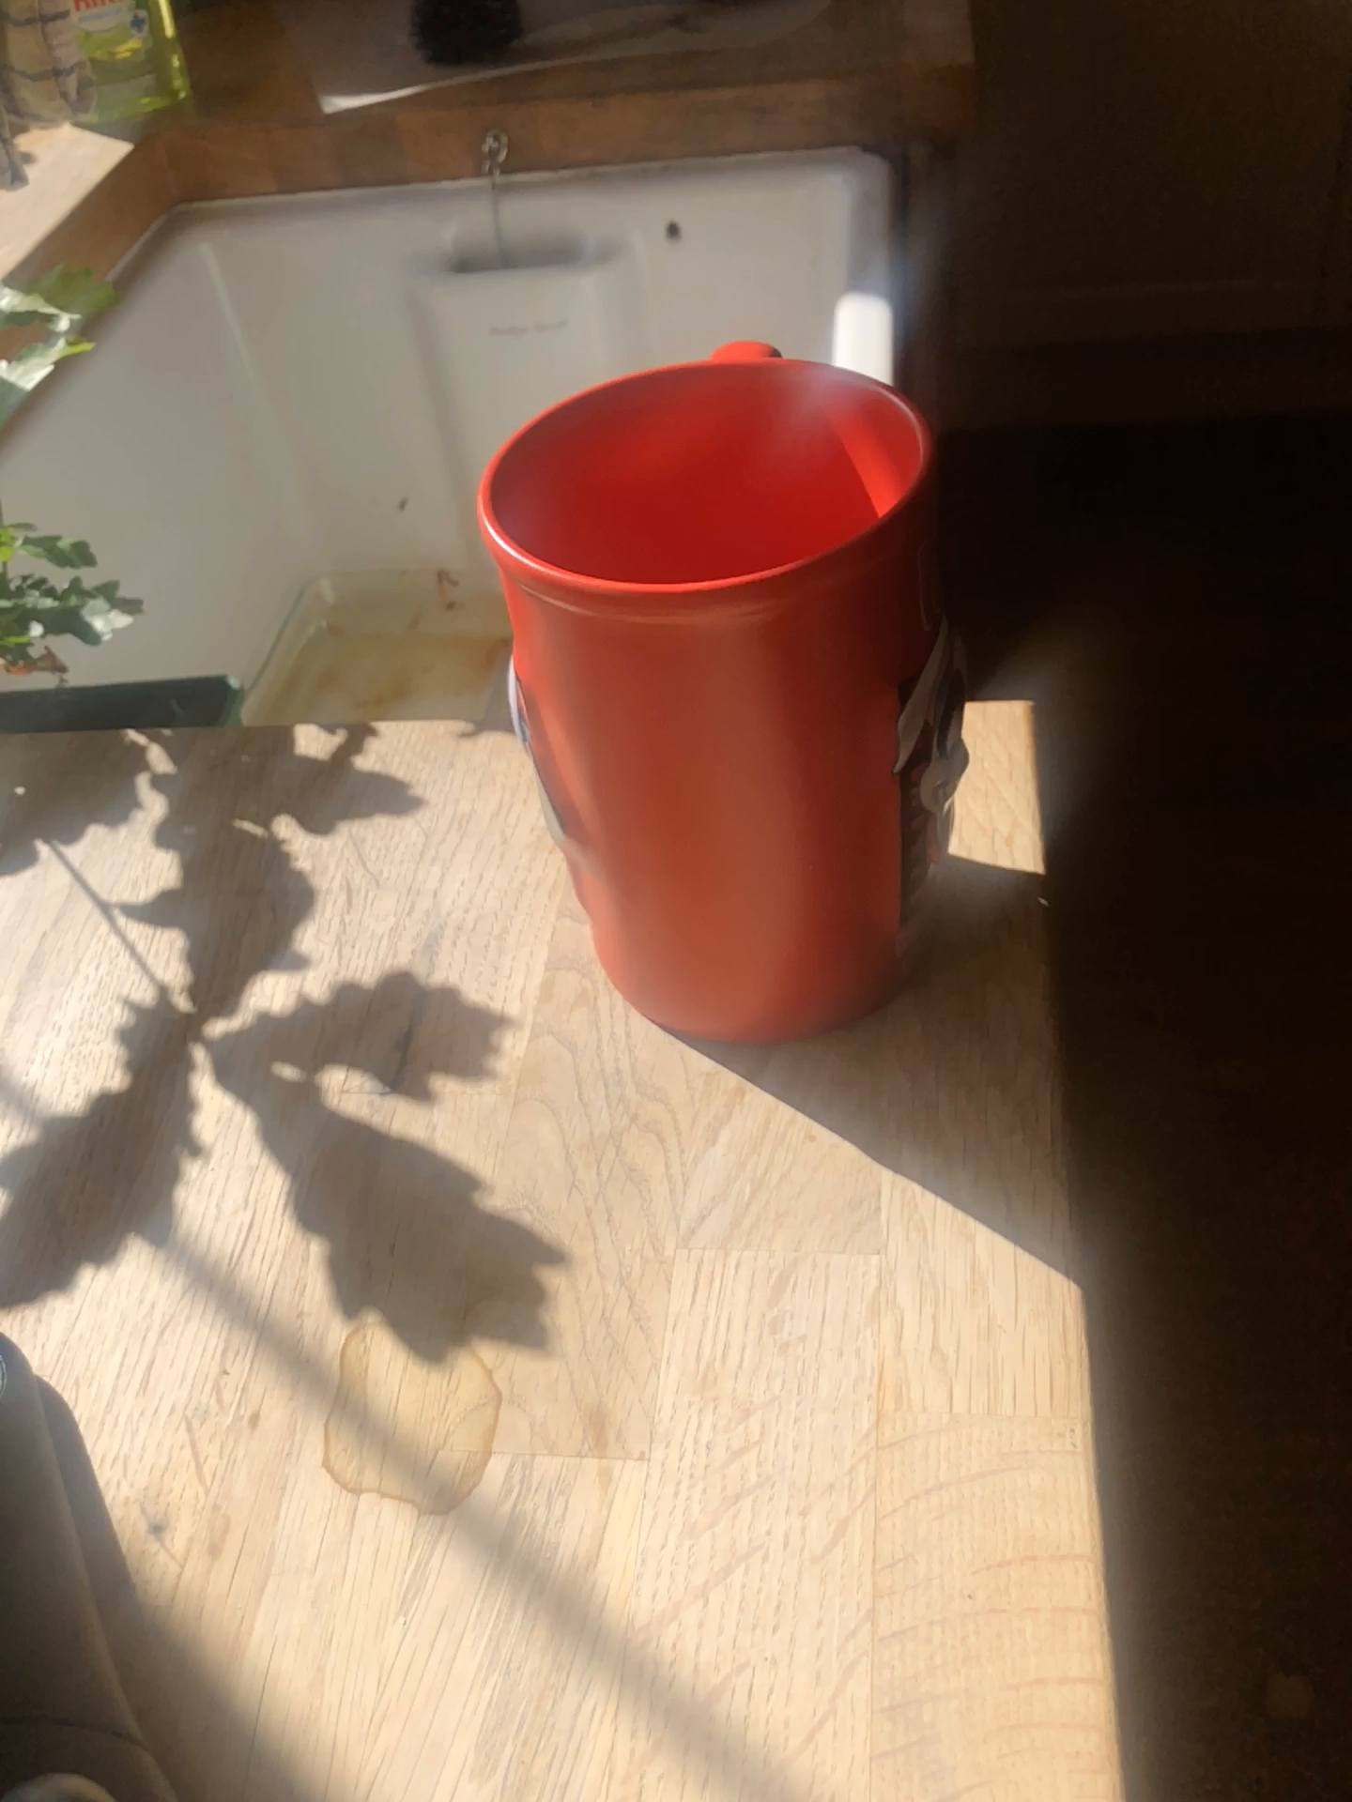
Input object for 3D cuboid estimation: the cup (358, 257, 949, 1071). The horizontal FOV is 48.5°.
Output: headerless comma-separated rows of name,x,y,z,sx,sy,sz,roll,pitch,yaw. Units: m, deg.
cup,0.010,-0.052,0.332,0.094,0.119,0.132,-1,43,12
